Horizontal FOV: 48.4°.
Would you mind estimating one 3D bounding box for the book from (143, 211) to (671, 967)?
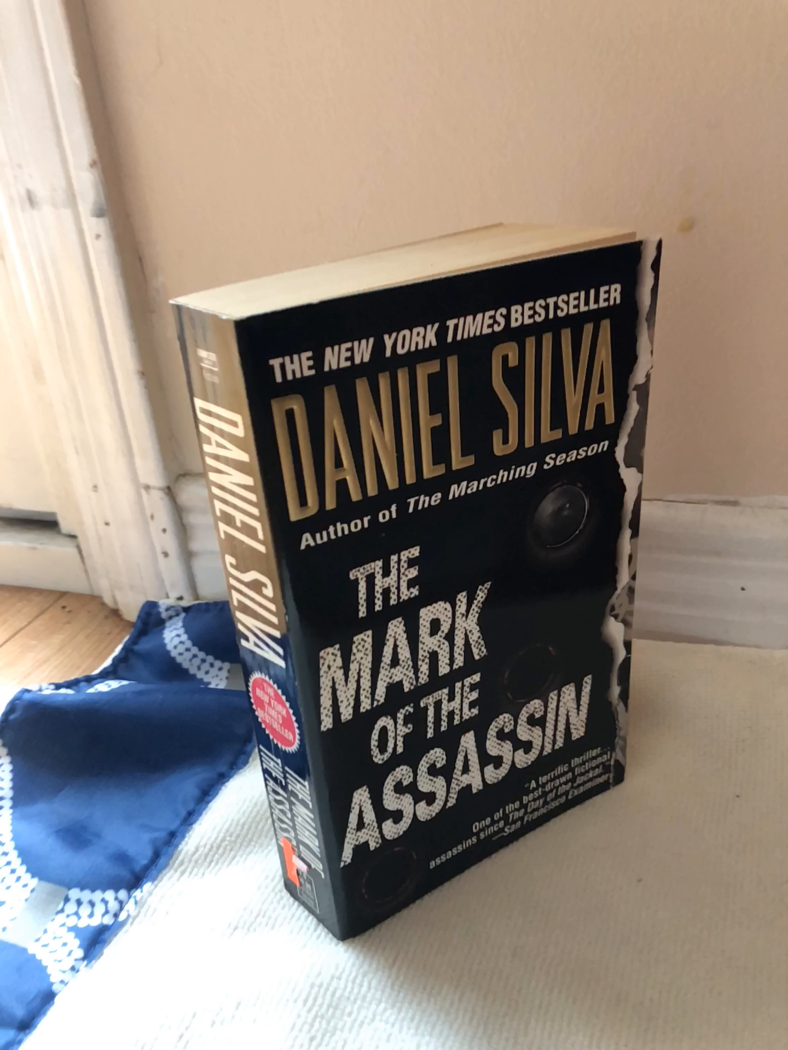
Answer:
[{"bbox_3d":[0.015,0.013,0.238,0.119,0.169,0.045,-21,28,-28],"label":"book"}]
